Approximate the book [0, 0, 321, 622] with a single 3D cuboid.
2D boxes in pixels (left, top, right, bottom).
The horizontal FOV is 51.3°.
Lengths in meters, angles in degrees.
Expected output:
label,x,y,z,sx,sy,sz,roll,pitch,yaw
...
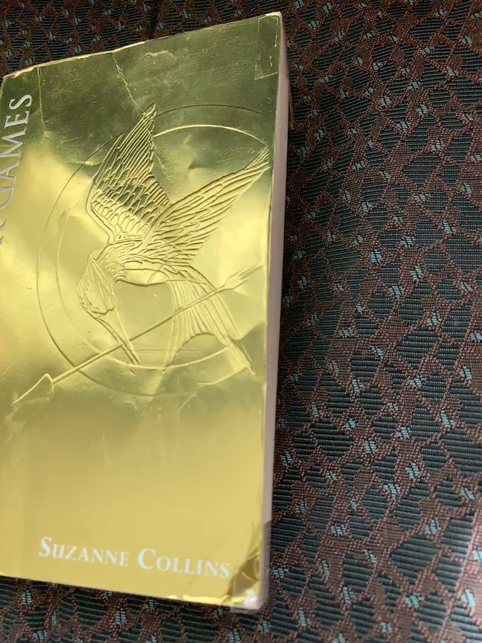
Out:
label,x,y,z,sx,sy,sz,roll,pitch,yaw
book,-0.044,-0.014,0.190,0.142,0.037,0.201,-2,73,16
